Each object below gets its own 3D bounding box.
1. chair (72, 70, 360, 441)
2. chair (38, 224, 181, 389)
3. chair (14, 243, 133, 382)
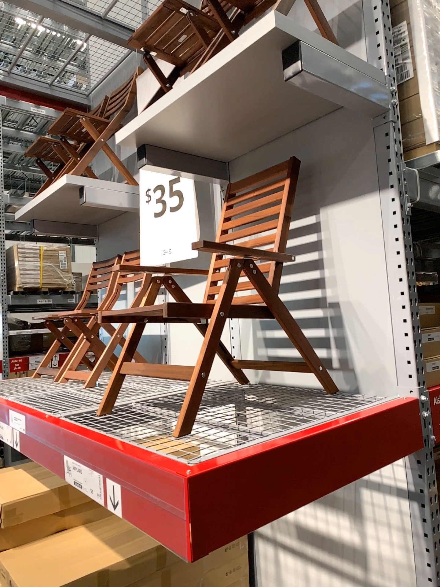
[{"bbox_3d":[-0.013,-0.101,1.780,0.890,1.055,0.615,0,-6,-40],"label":"chair"},{"bbox_3d":[-0.706,0.087,2.827,0.630,0.885,0.615,0,-6,-40],"label":"chair"},{"bbox_3d":[-1.088,0.141,3.296,0.630,0.885,0.615,0,-5,-39],"label":"chair"}]
